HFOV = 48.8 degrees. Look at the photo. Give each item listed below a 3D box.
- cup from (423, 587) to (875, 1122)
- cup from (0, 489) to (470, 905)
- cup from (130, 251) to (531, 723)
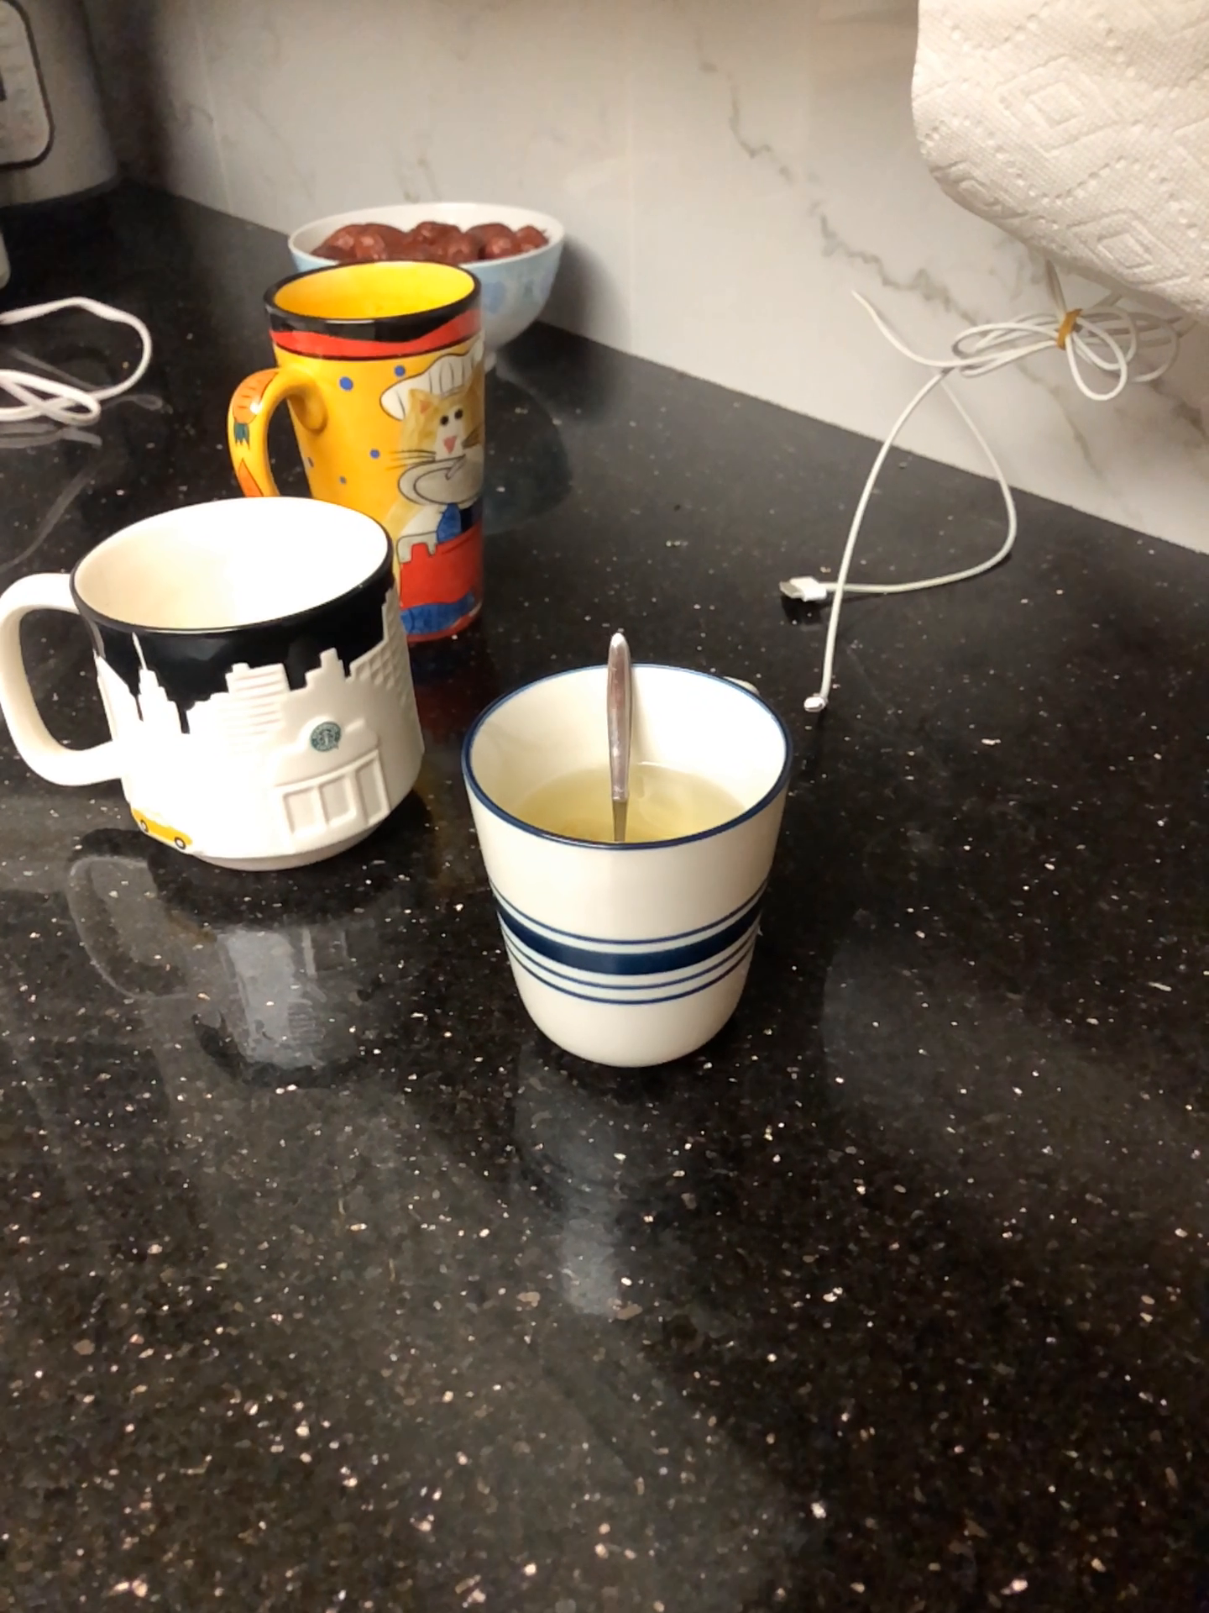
[{"bbox_3d":[0.017,0.011,0.398,0.100,0.109,0.090,12,37,18],"label":"cup"},{"bbox_3d":[-0.136,-0.042,0.484,0.150,0.109,0.101,2,36,5],"label":"cup"},{"bbox_3d":[-0.107,-0.141,0.574,0.090,0.149,0.131,16,39,23],"label":"cup"}]
